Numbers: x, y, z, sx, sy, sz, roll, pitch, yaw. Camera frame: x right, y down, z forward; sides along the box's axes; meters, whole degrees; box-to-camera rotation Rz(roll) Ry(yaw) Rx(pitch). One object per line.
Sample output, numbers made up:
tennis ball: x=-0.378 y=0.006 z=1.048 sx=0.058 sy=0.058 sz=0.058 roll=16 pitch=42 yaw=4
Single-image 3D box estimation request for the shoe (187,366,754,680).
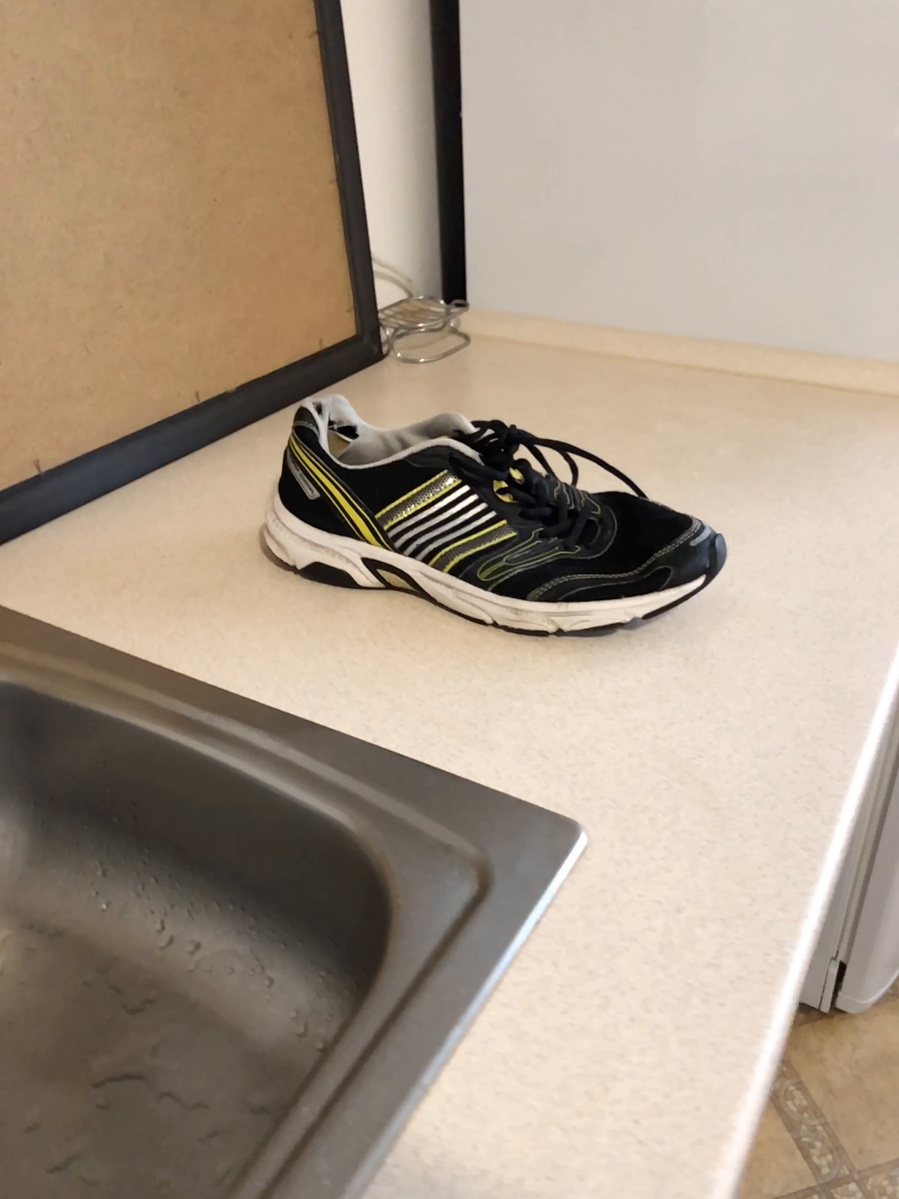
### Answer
shoe: x=0.008 y=-0.059 z=0.595 sx=0.310 sy=0.099 sz=0.111 roll=13 pitch=34 yaw=24
